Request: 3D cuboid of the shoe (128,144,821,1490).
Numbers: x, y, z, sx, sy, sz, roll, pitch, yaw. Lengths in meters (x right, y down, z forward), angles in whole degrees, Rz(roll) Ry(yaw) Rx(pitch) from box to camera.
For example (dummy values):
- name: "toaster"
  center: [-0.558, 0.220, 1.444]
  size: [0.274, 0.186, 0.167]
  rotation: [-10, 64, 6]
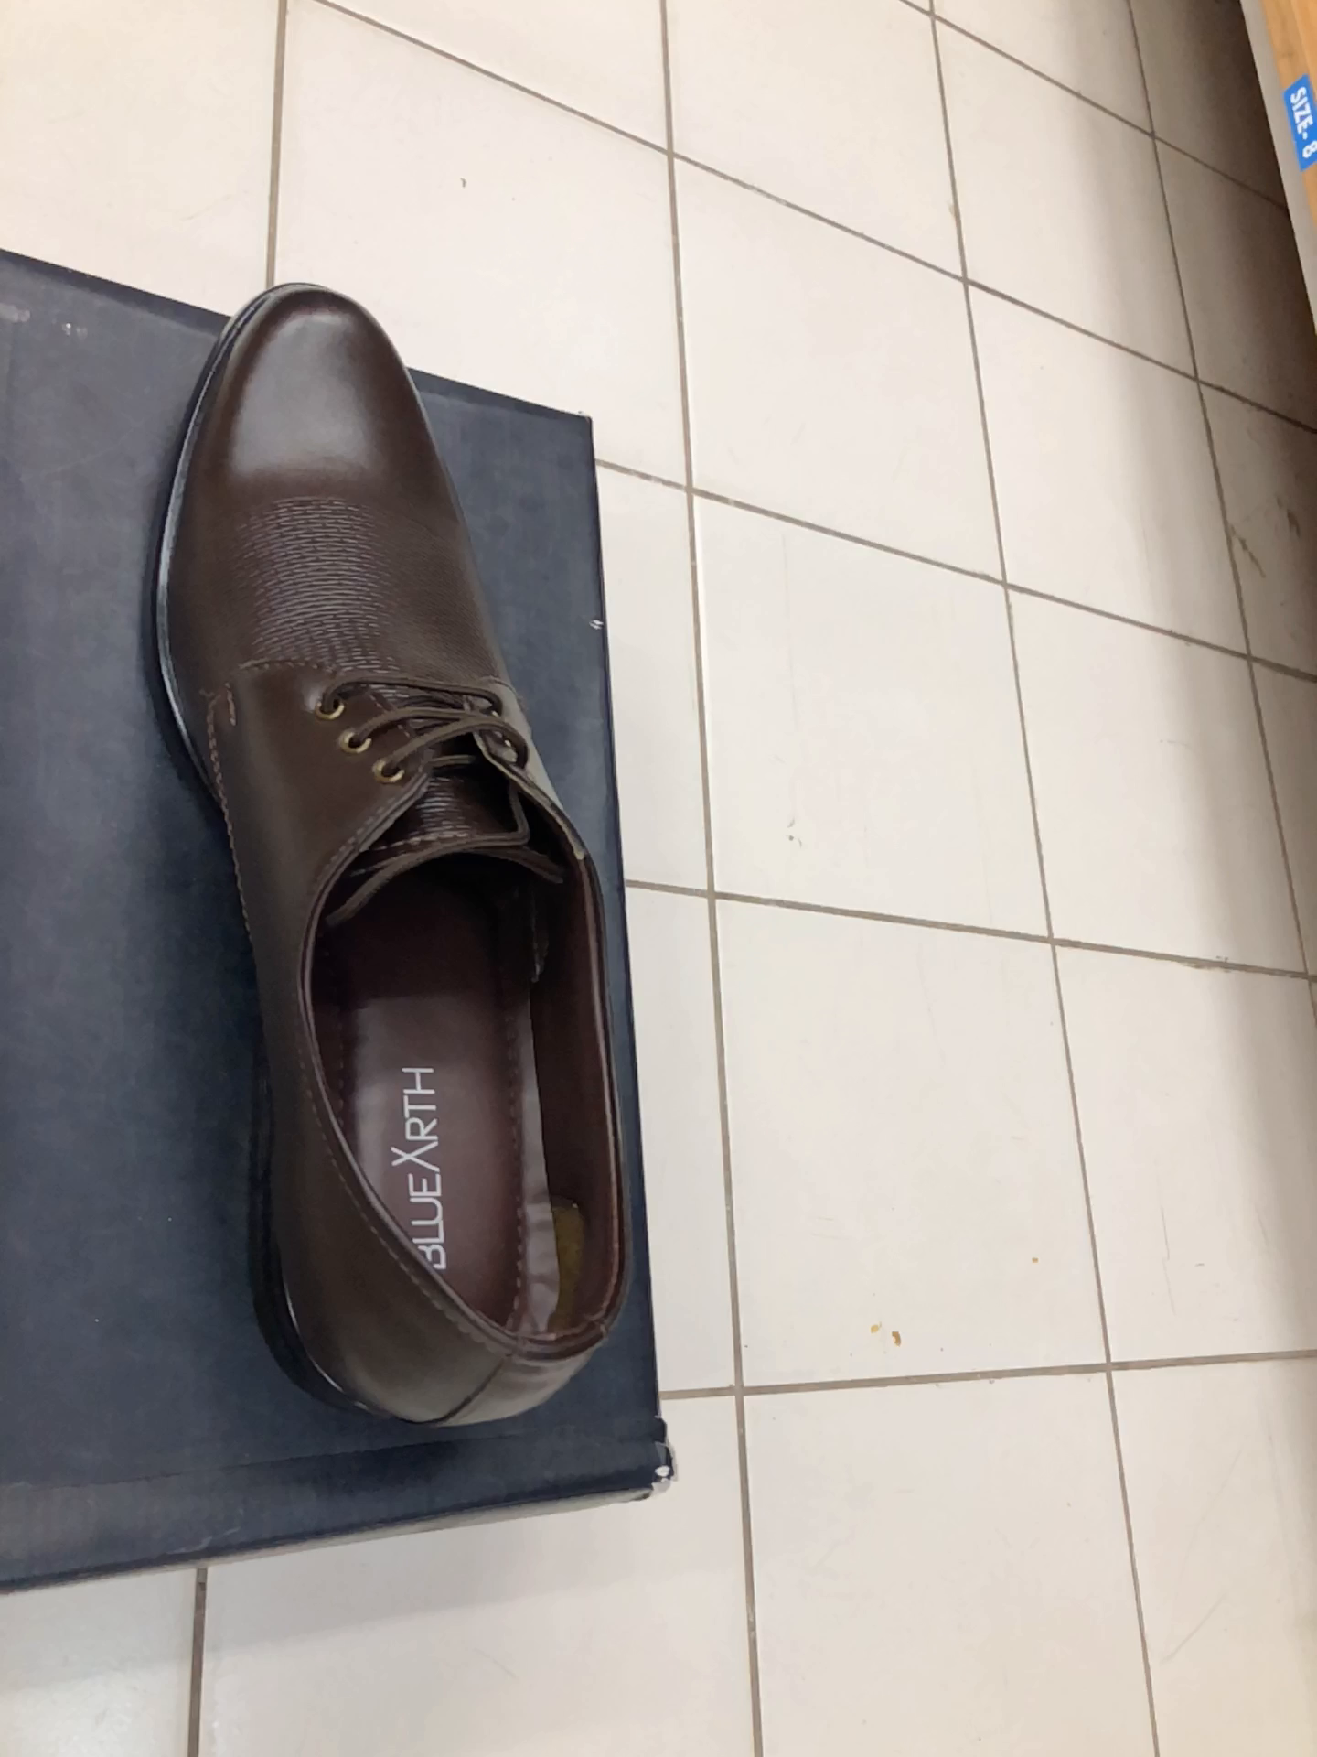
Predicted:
- name: "shoe"
  center: [-0.059, -0.014, 0.370]
  size: [0.104, 0.109, 0.290]
  rotation: [0, 74, -33]
